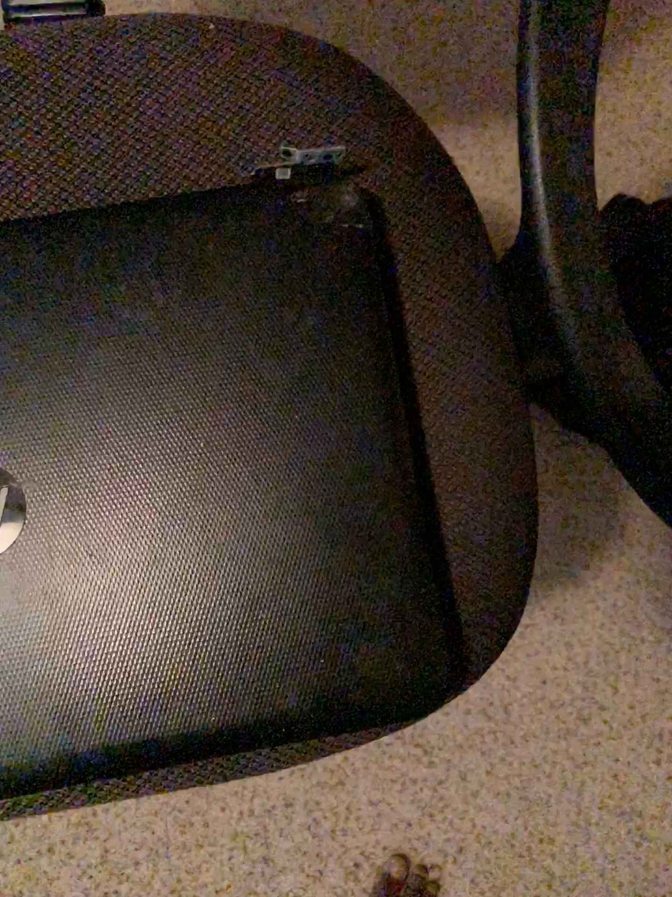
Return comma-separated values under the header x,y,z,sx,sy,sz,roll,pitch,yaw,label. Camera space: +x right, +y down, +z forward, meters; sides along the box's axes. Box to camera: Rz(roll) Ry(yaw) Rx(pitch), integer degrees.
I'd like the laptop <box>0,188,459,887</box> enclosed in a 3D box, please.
x,y,z,sx,sy,sz,roll,pitch,yaw,label
-0.148,0.023,0.318,0.378,0.018,0.244,-9,85,-8,laptop
